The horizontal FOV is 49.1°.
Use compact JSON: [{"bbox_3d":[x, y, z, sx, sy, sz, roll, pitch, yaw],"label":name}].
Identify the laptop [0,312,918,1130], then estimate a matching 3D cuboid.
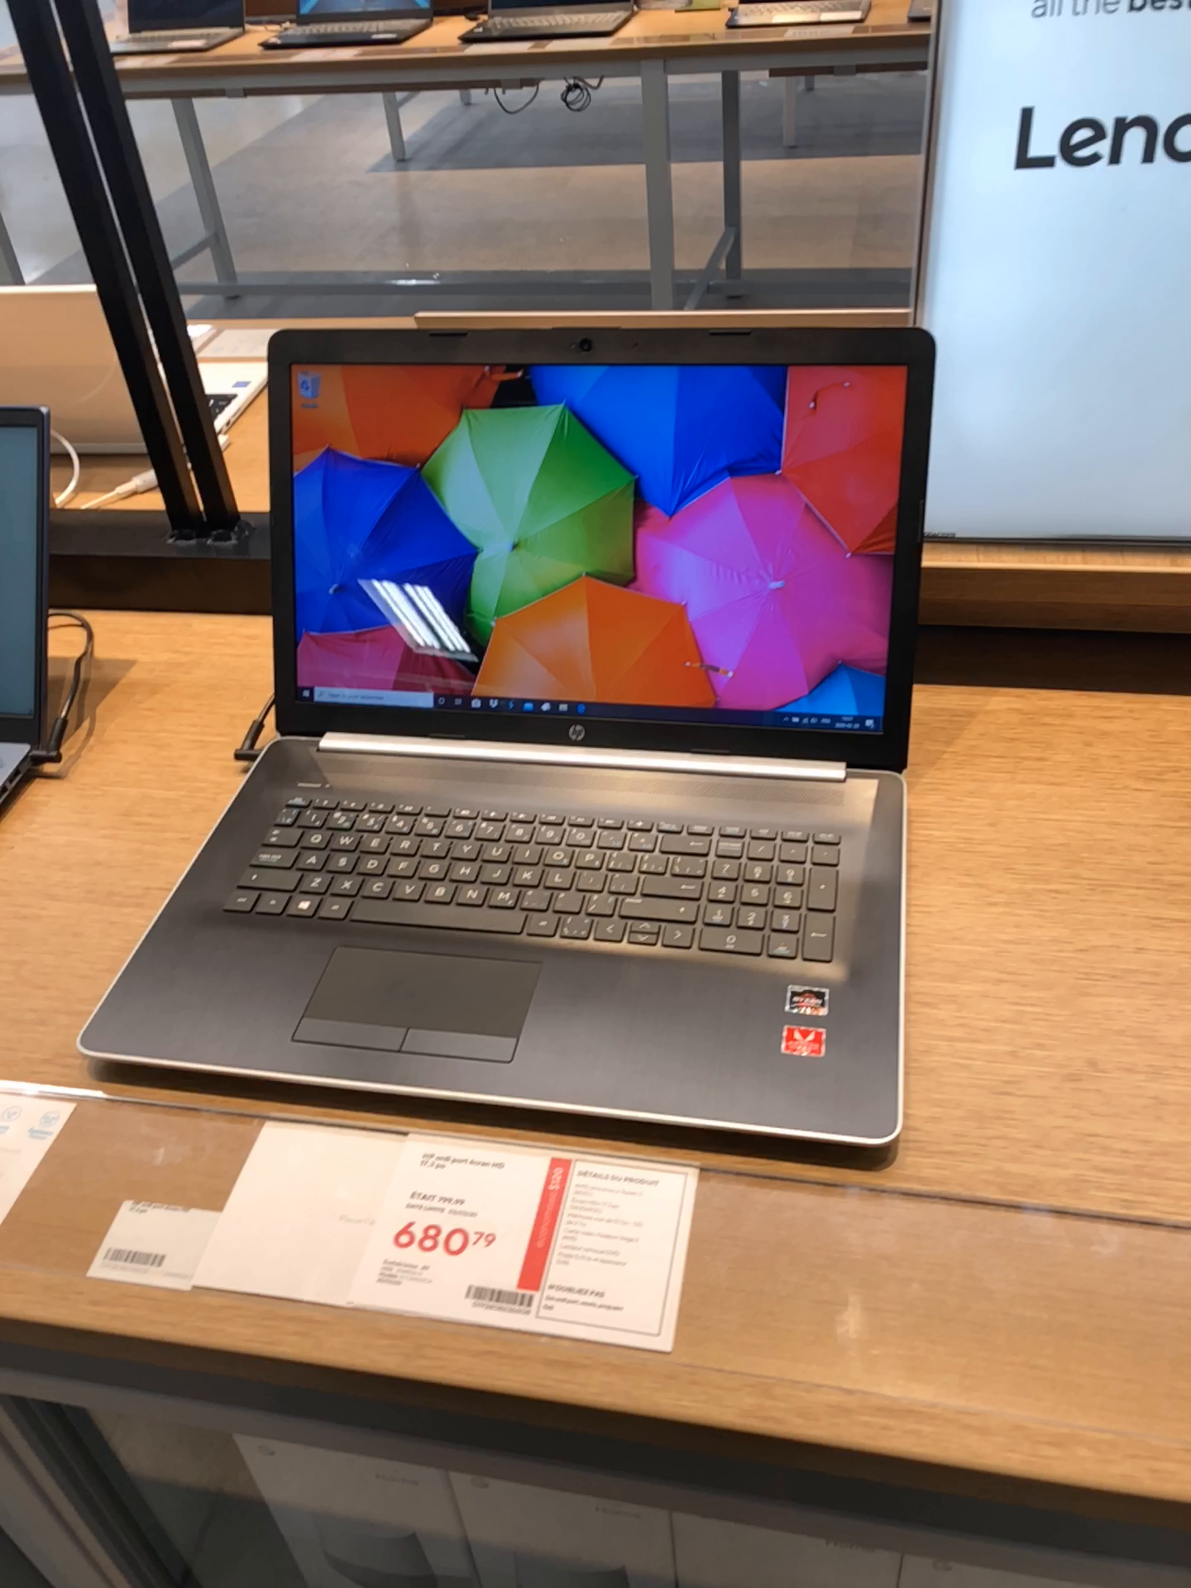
[{"bbox_3d":[-0.037,-0.075,0.716,0.399,0.217,0.399,4,42,11],"label":"laptop"}]
